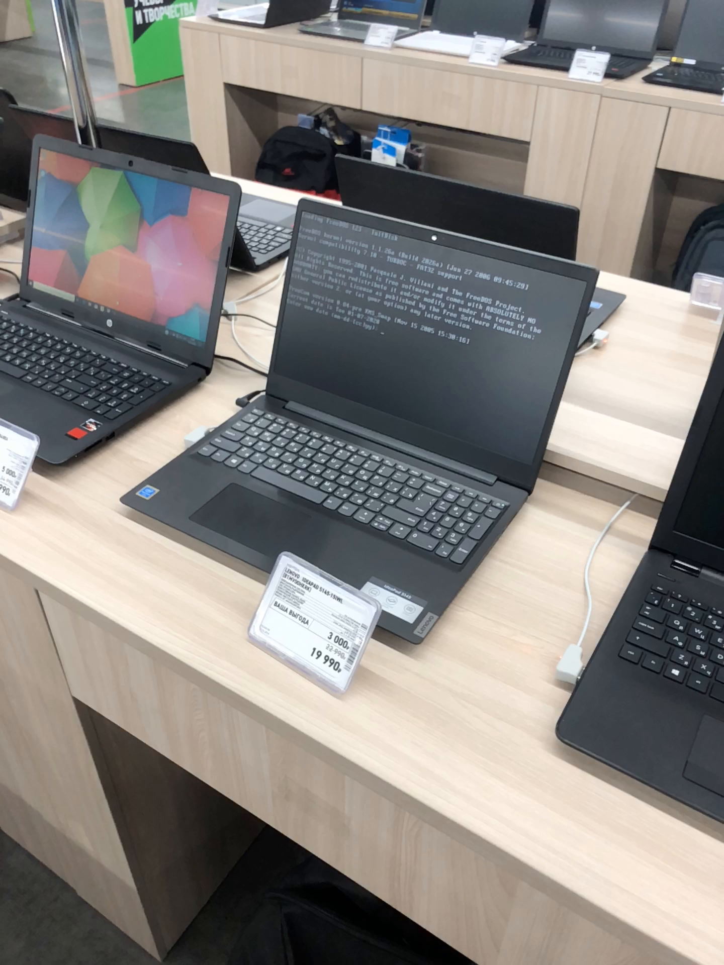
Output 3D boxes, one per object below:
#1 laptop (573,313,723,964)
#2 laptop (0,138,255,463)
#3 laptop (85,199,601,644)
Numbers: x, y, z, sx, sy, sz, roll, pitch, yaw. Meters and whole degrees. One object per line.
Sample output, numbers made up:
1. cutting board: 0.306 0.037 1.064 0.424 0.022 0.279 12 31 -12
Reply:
1. laptop: 0.368 0.086 0.542 0.337 0.208 0.298 22 43 25
2. laptop: -0.379 -0.243 0.961 0.352 0.202 0.321 23 43 25
3. laptop: -0.009 -0.092 0.774 0.340 0.210 0.323 22 43 26
